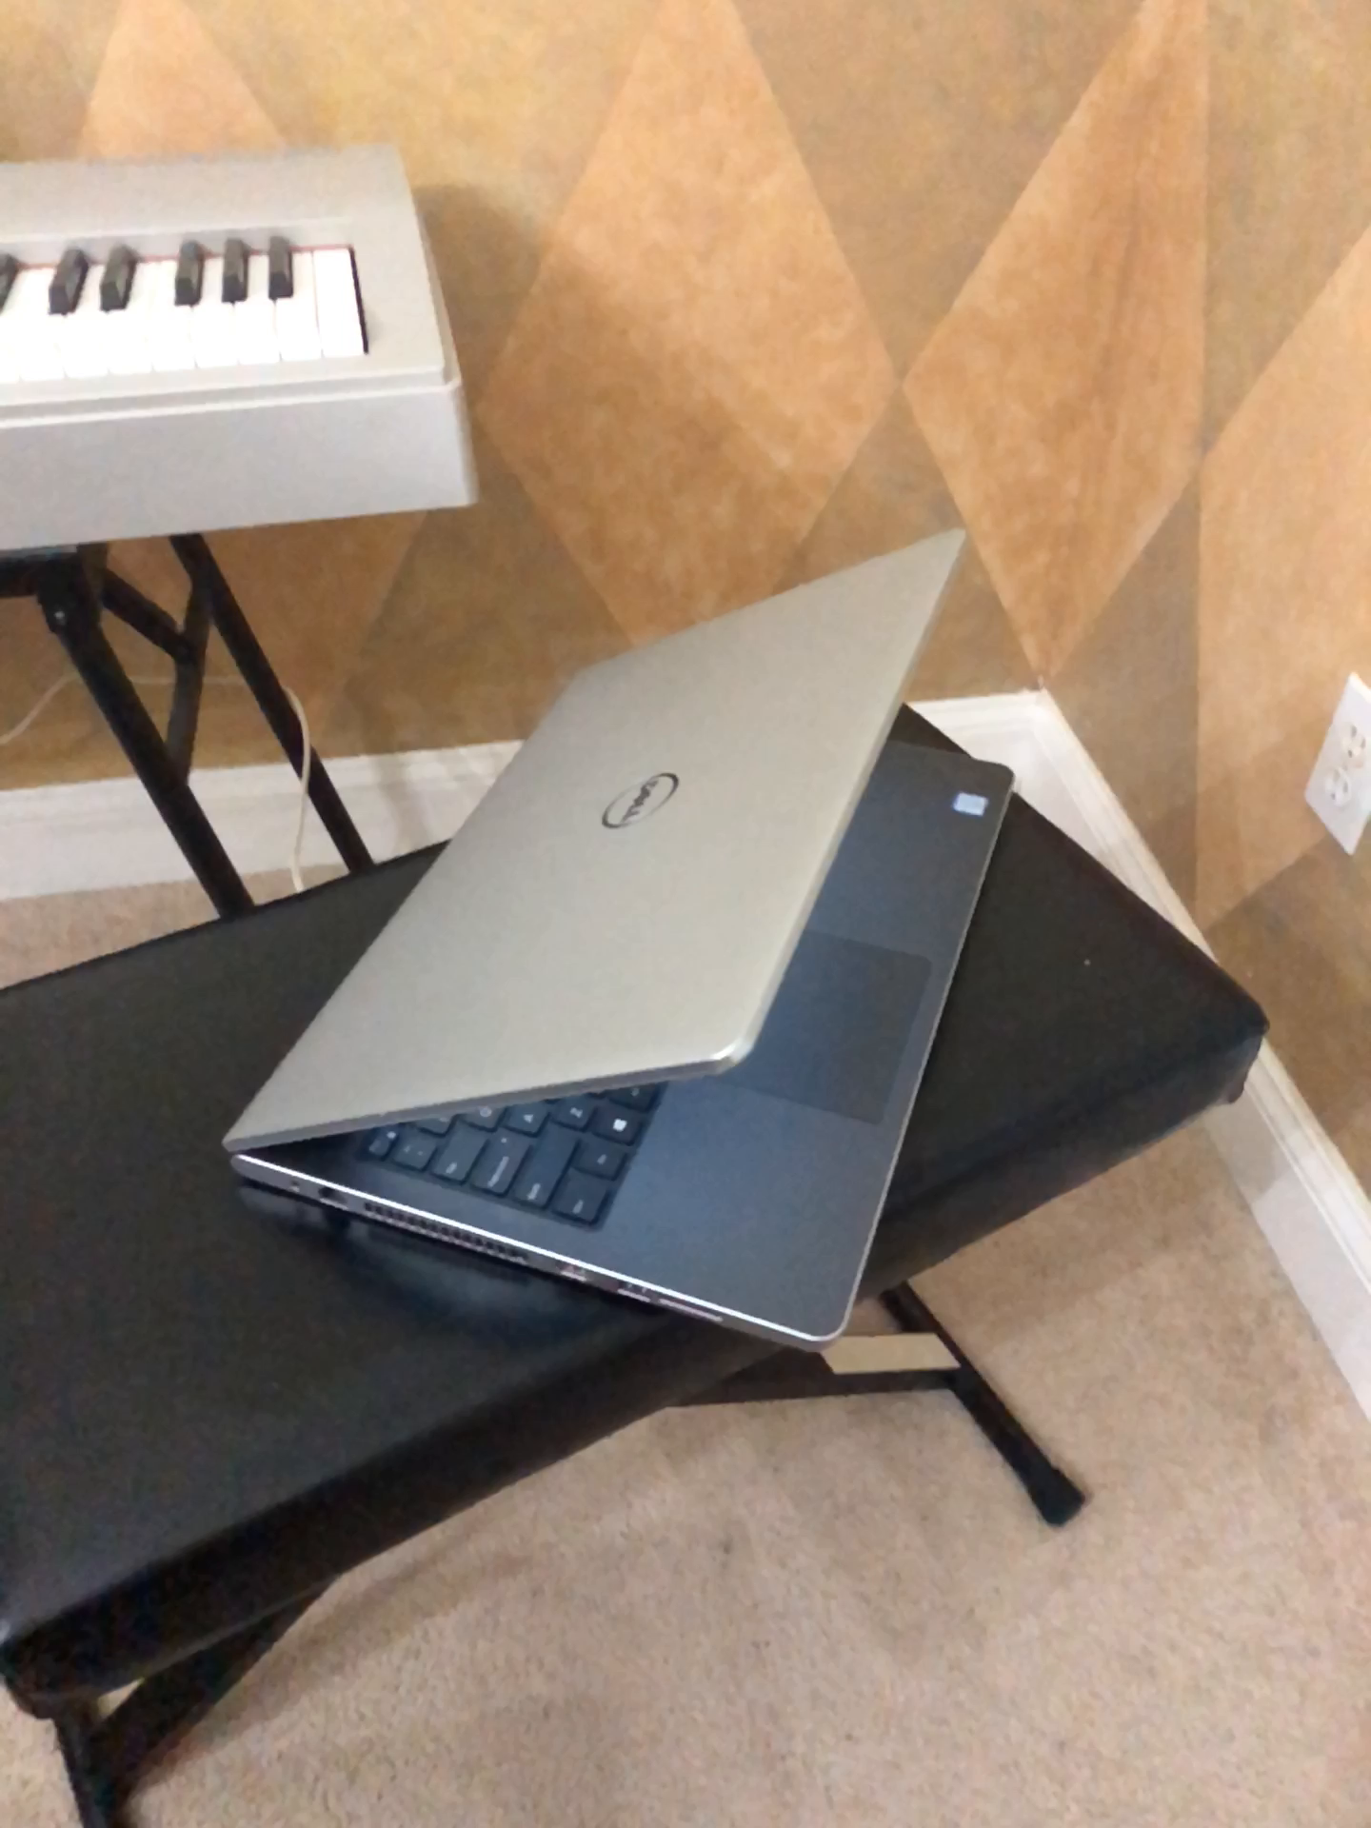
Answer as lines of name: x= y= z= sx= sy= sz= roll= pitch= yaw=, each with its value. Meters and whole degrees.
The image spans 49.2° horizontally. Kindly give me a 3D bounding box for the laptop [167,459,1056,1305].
laptop: x=-0.002 y=-0.047 z=0.696 sx=0.261 sy=0.136 sz=0.377 roll=14 pitch=44 yaw=13
